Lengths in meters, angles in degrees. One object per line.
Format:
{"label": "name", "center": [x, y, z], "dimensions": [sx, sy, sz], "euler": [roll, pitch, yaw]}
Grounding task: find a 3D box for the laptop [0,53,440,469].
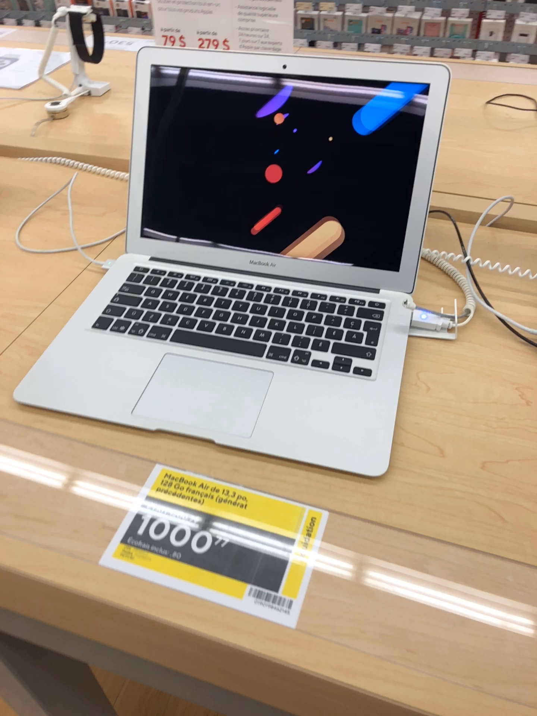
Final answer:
{"label": "laptop", "center": [-0.027, -0.114, 0.517], "dimensions": [0.305, 0.186, 0.325], "euler": [9, 42, 10]}
